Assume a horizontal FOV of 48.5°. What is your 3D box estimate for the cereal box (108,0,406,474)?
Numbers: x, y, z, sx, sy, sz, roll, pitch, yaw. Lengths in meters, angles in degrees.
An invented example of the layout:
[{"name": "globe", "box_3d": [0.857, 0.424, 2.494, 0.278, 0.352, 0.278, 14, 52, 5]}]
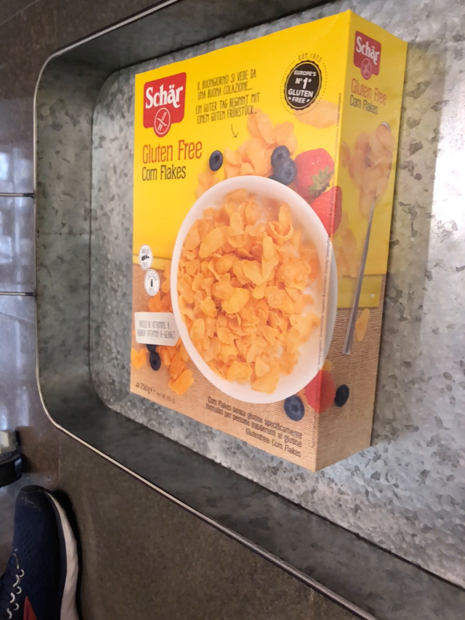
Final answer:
[{"name": "cereal box", "box_3d": [-0.002, -0.049, 0.359, 0.201, 0.070, 0.250, 11, 102, 44]}]
